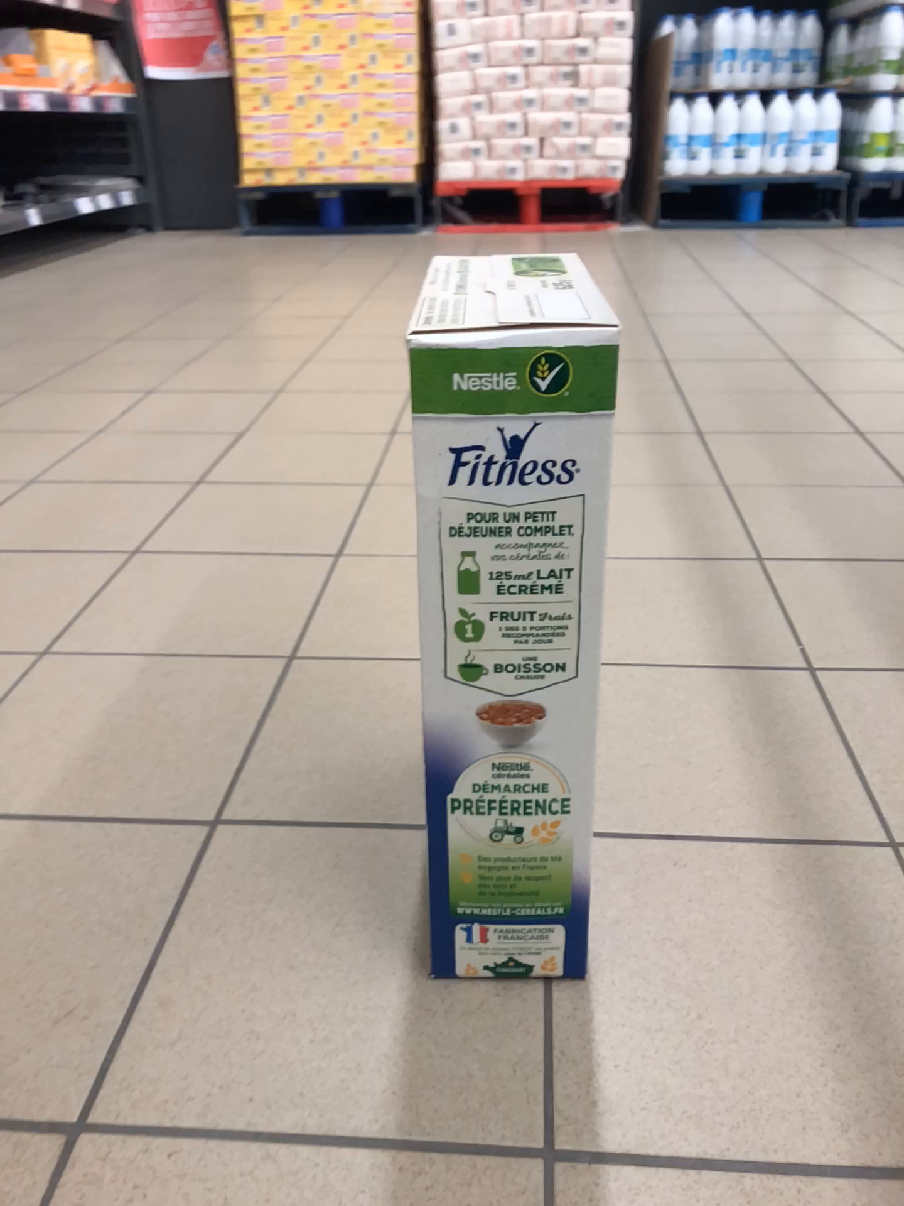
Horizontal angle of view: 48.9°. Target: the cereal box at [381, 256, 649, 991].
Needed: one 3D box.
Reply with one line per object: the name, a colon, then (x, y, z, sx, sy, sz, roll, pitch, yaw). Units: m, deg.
cereal box: (0.024, -0.002, 0.491, 0.090, 0.298, 0.211, 0, 25, 1)
